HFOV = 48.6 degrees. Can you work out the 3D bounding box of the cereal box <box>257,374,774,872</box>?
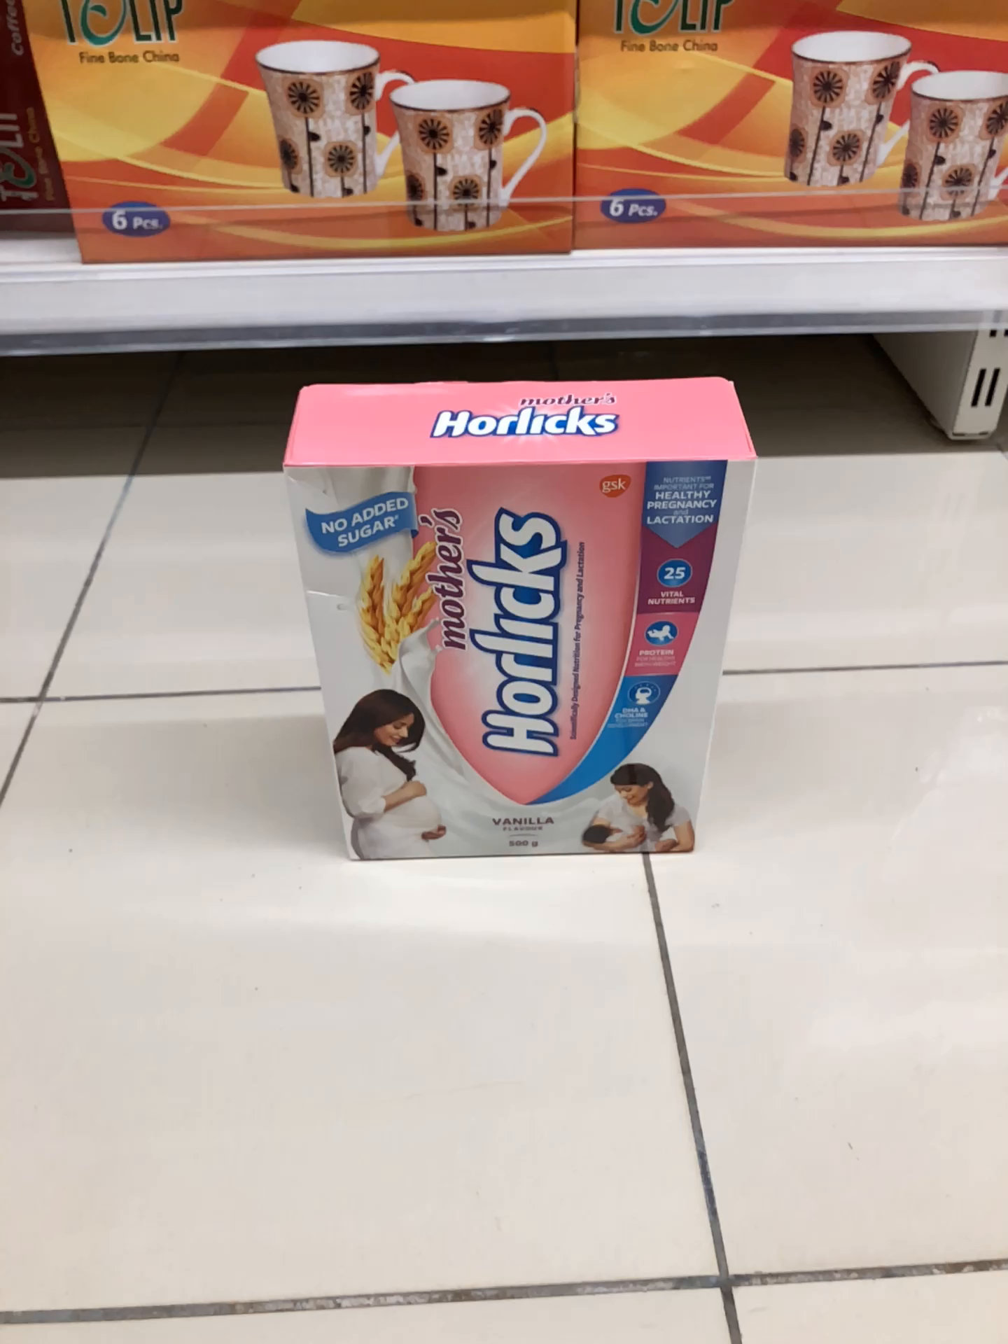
[{"bbox_3d":[0.004,-0.011,0.428,0.160,0.189,0.060,-1,39,-1],"label":"cereal box"}]
